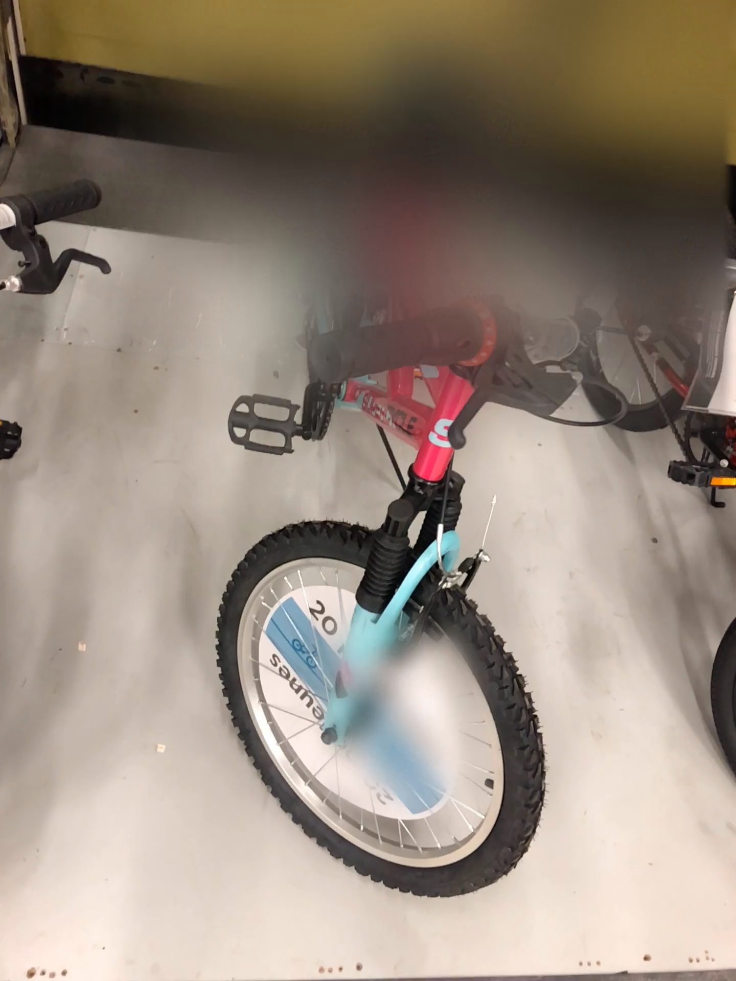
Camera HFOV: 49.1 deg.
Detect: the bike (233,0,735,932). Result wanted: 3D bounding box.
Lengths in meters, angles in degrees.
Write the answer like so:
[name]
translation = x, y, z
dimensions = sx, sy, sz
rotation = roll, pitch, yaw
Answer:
[bike]
translation = 0.147, -0.146, 1.134
dimensions = 0.563, 0.764, 1.219
rotation = -1, 57, -13
